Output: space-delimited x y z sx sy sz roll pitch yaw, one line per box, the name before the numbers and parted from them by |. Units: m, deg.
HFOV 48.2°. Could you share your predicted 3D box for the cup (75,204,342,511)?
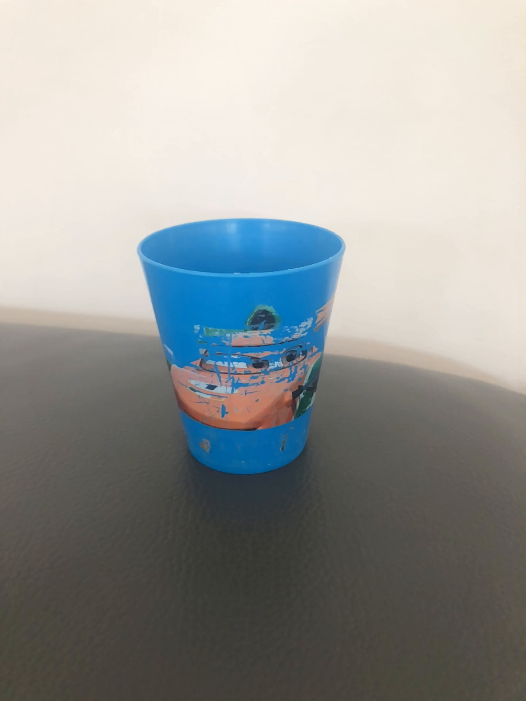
cup | -0.014 -0.003 0.237 0.080 0.090 0.080 1 27 0
